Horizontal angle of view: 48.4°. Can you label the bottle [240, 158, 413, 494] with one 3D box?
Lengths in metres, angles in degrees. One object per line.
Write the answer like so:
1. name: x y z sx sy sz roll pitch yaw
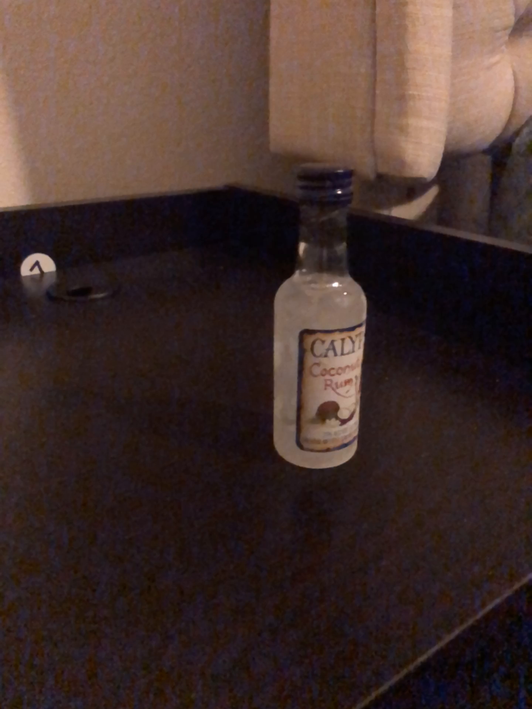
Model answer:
1. bottle: 0.019 -0.011 0.204 0.040 0.104 0.036 -17 28 -36
